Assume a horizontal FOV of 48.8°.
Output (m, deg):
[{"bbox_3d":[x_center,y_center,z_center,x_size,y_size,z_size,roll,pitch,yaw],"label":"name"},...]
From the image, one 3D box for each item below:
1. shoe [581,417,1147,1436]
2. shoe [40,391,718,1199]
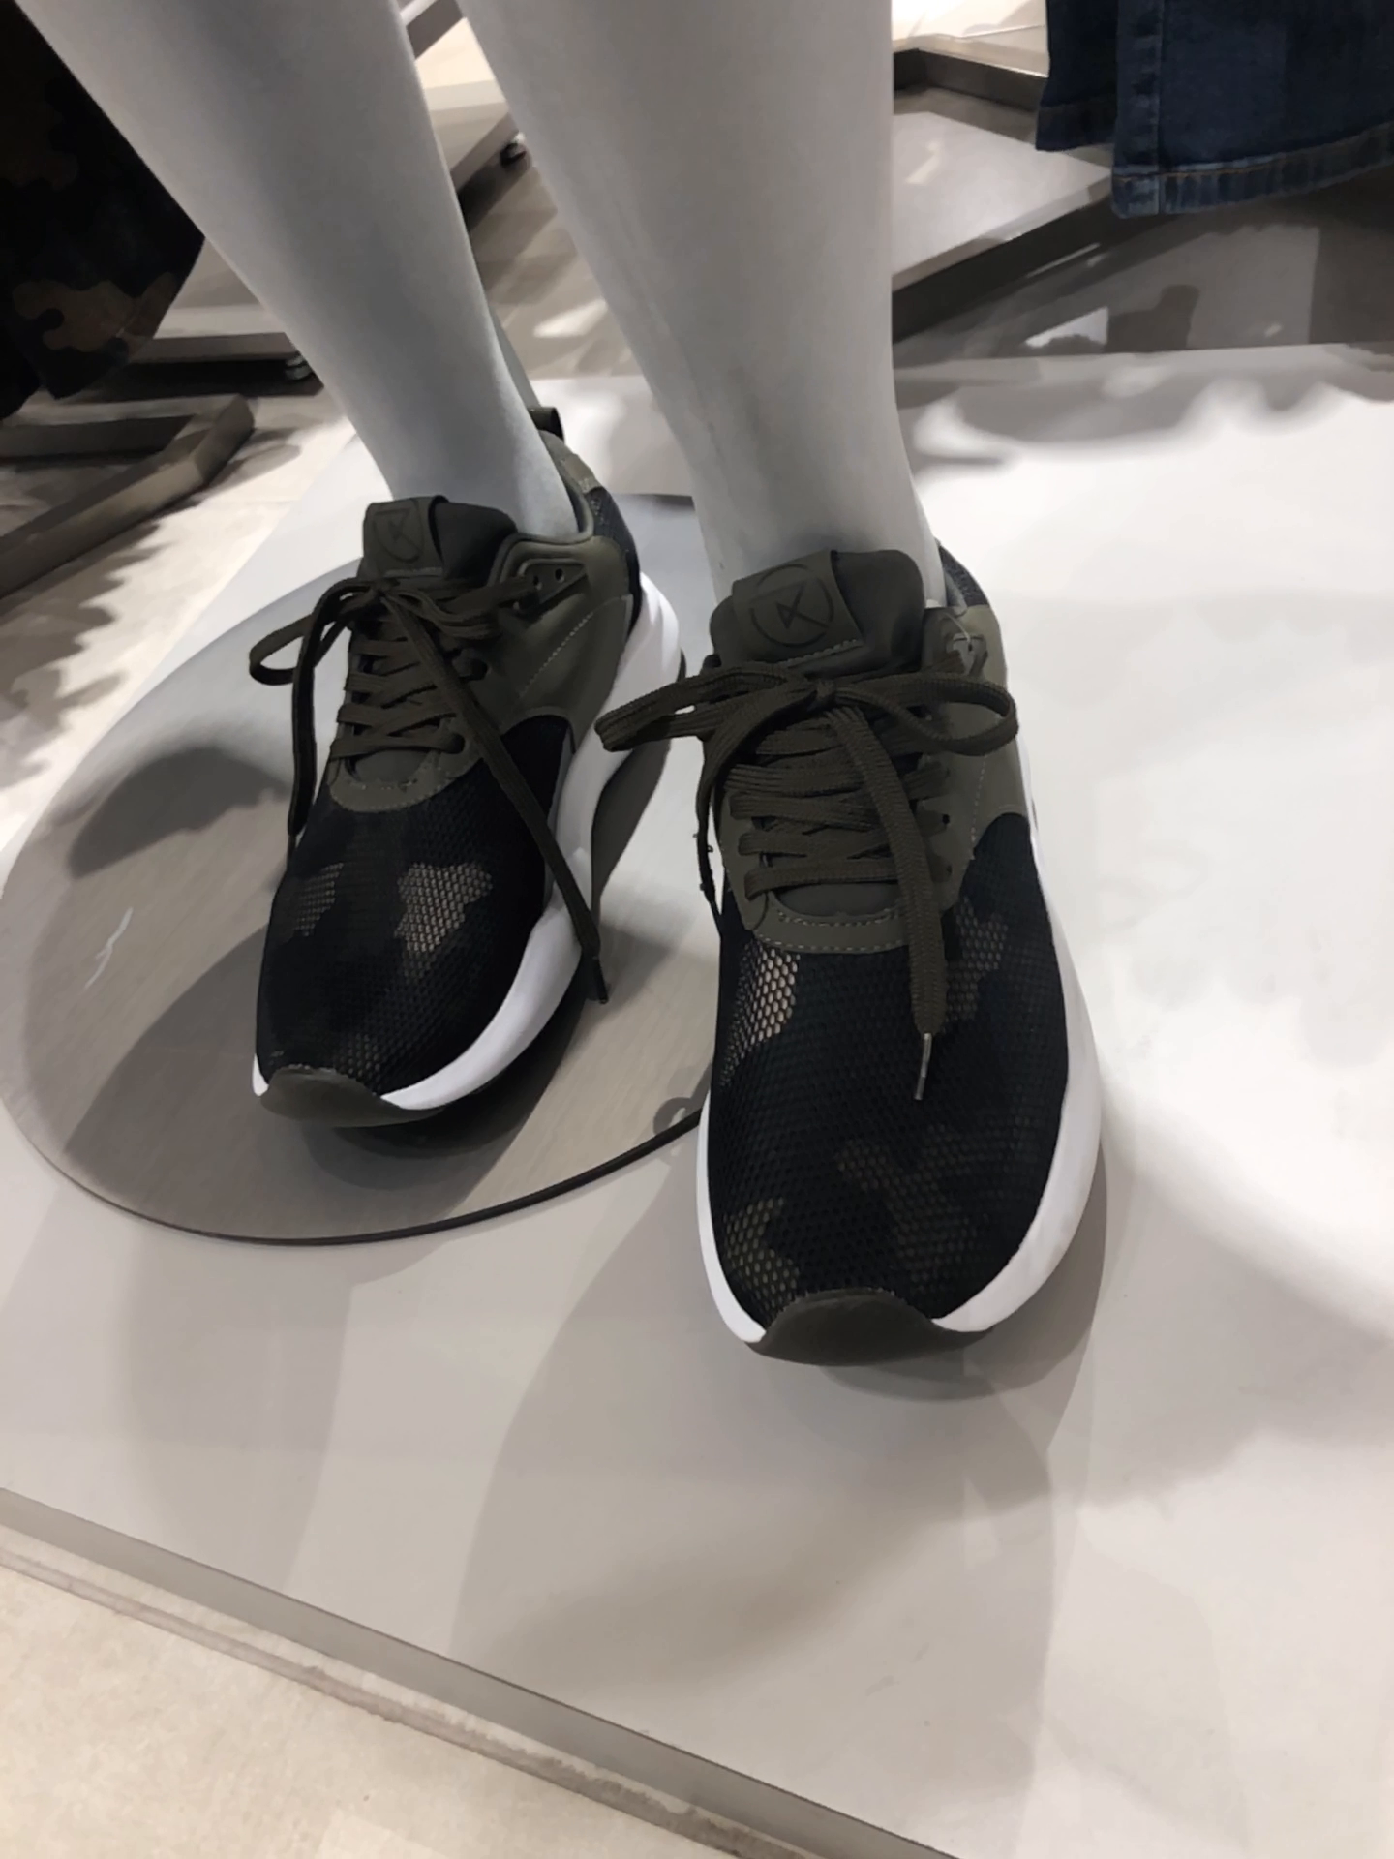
[{"bbox_3d":[0.054,-0.015,0.441,0.110,0.109,0.282,-6,47,14],"label":"shoe"},{"bbox_3d":[-0.086,-0.056,0.527,0.100,0.119,0.261,2,49,21],"label":"shoe"}]
